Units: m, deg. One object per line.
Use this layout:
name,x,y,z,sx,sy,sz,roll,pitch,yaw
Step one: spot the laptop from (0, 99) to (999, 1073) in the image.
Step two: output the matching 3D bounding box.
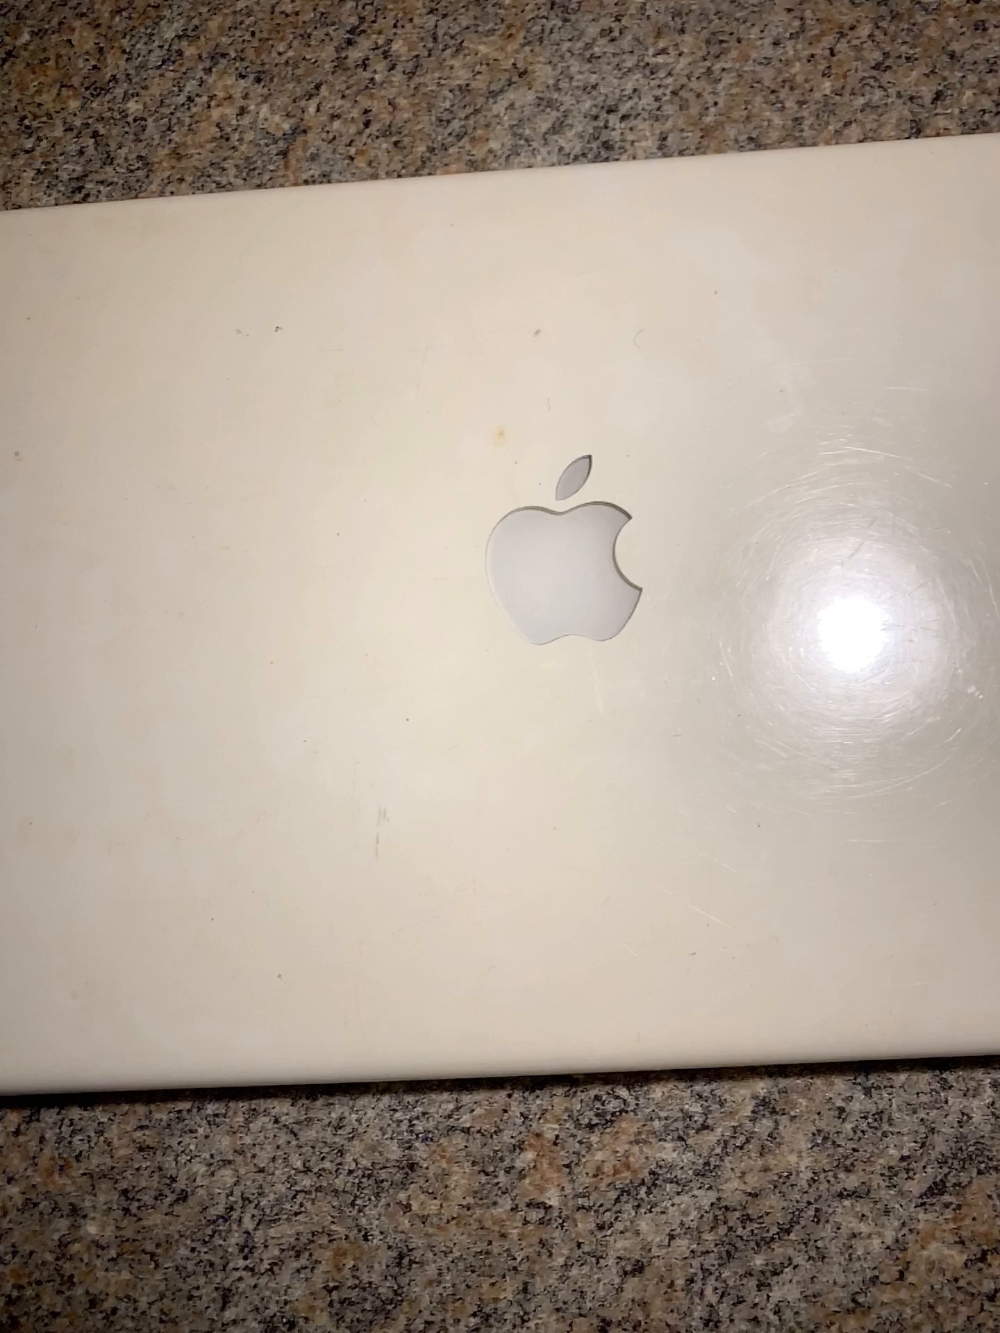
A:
laptop,0.012,-0.020,0.232,0.305,0.002,0.205,-4,78,6
